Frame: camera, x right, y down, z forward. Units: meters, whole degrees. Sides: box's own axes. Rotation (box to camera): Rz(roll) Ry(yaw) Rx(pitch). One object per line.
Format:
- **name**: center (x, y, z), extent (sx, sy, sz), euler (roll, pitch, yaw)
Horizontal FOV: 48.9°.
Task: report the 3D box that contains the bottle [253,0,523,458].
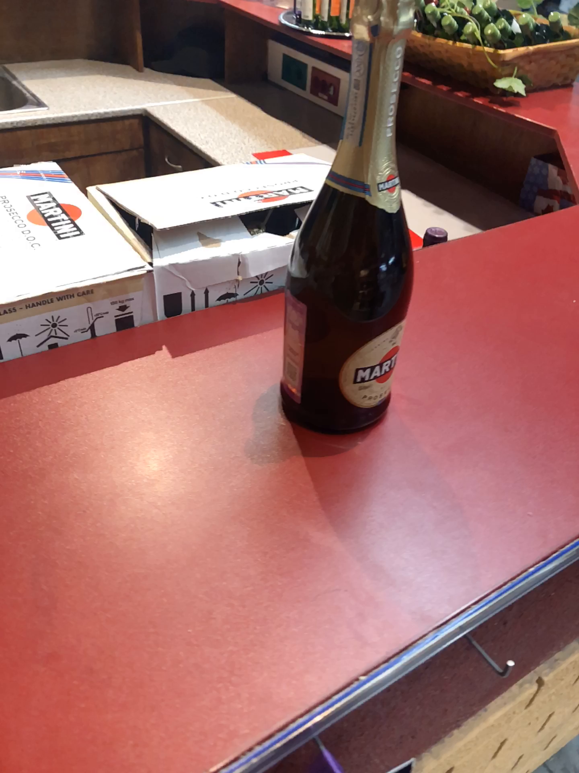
- **bottle**: center (0.047, -0.107, 0.424), extent (0.090, 0.302, 0.100), euler (33, 46, 30)
